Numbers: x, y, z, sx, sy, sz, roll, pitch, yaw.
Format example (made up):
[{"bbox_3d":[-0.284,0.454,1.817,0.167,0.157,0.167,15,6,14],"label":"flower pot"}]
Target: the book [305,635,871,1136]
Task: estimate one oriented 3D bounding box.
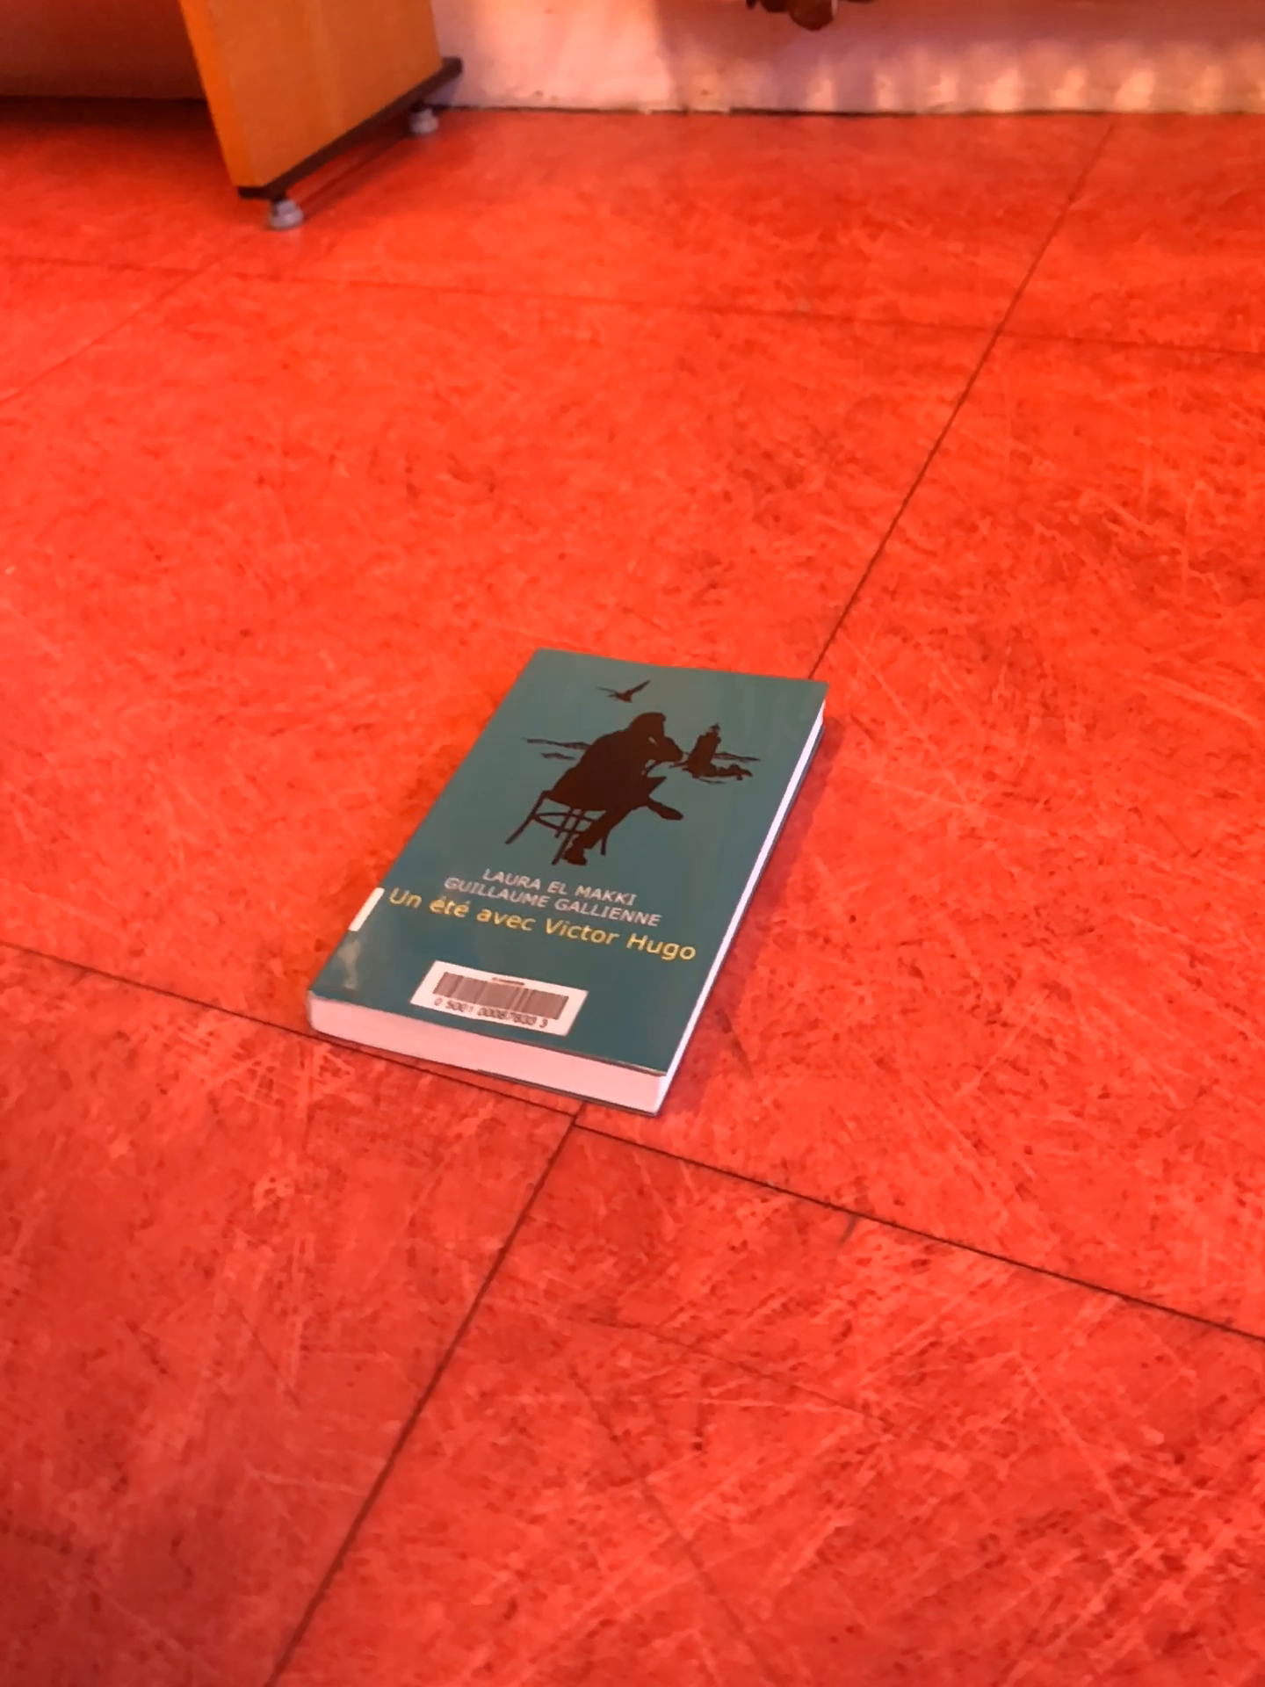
[{"bbox_3d":[-0.004,0.000,0.415,0.110,0.020,0.171,10,45,20],"label":"book"}]
